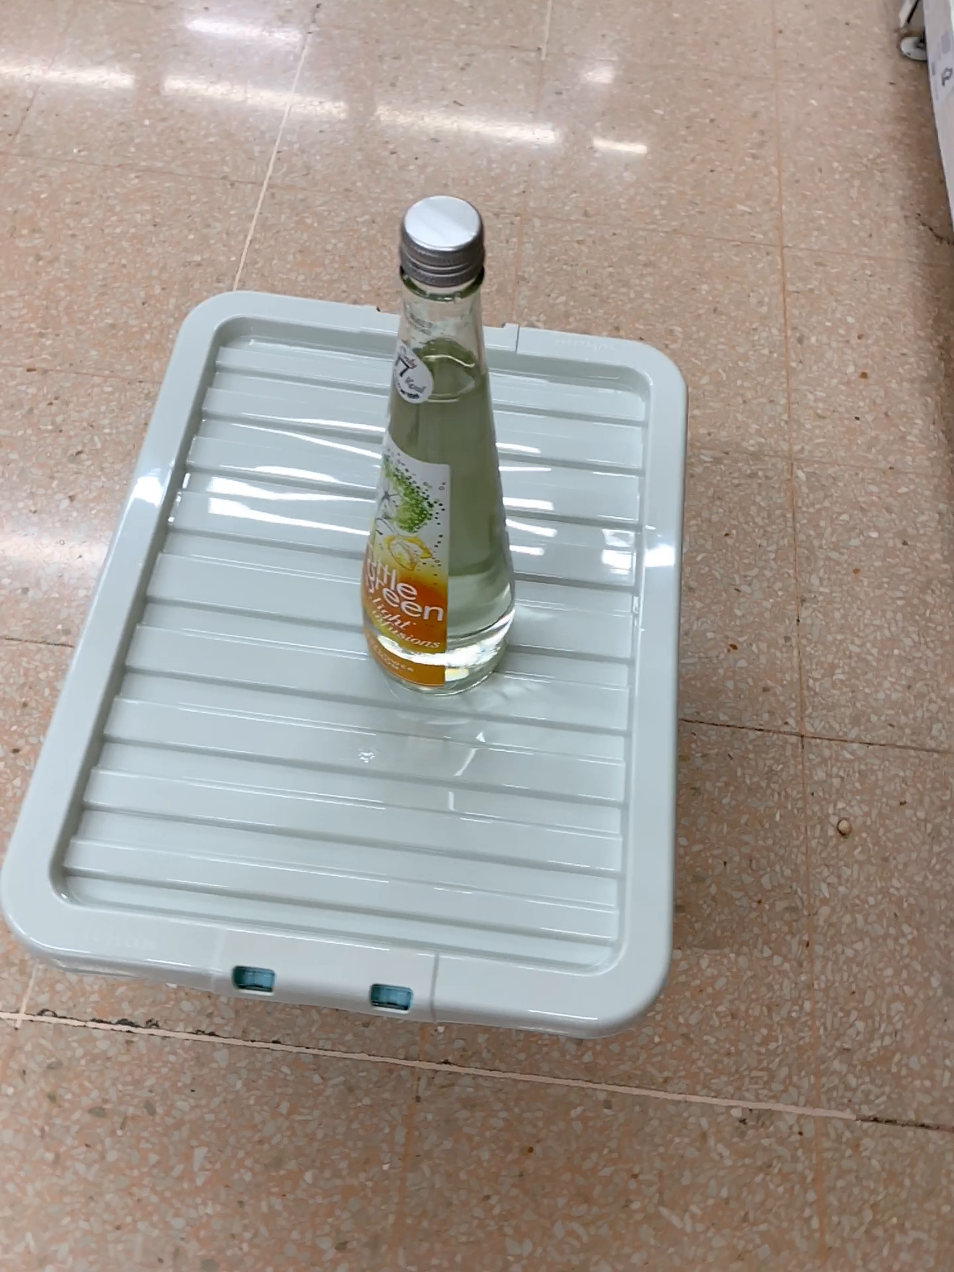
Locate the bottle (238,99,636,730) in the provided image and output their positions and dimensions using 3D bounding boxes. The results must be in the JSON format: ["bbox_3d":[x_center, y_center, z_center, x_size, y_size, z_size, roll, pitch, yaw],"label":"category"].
[{"bbox_3d":[-0.020,-0.067,0.441,0.090,0.288,0.090,1,64,-3],"label":"bottle"}]
